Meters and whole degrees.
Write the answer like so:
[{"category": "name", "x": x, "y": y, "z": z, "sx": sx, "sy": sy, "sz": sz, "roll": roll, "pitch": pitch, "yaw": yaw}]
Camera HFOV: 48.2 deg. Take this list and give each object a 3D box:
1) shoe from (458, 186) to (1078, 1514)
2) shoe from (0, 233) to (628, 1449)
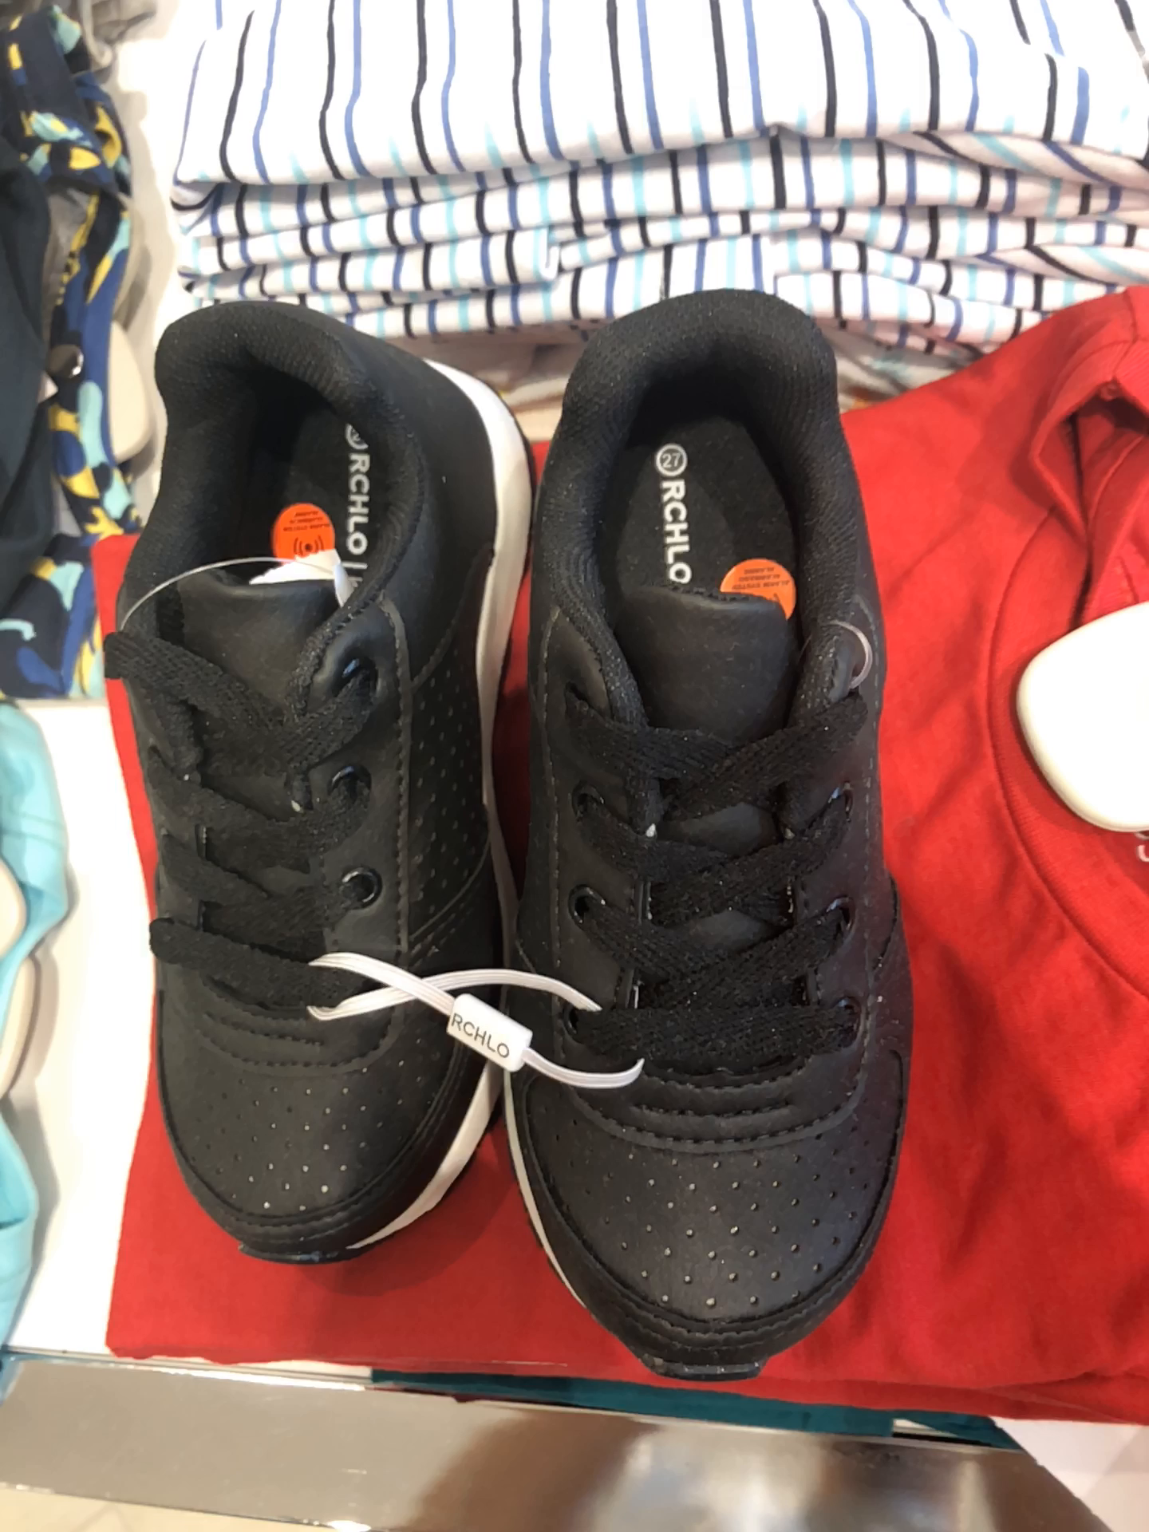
[{"category": "shoe", "x": 0.025, "y": 0.011, "z": 0.227, "sx": 0.080, "sy": 0.086, "sz": 0.190, "roll": -1, "pitch": 79, "yaw": 1}, {"category": "shoe", "x": -0.037, "y": 0.009, "z": 0.235, "sx": 0.080, "sy": 0.080, "sz": 0.180, "roll": 3, "pitch": 83, "yaw": 5}]
